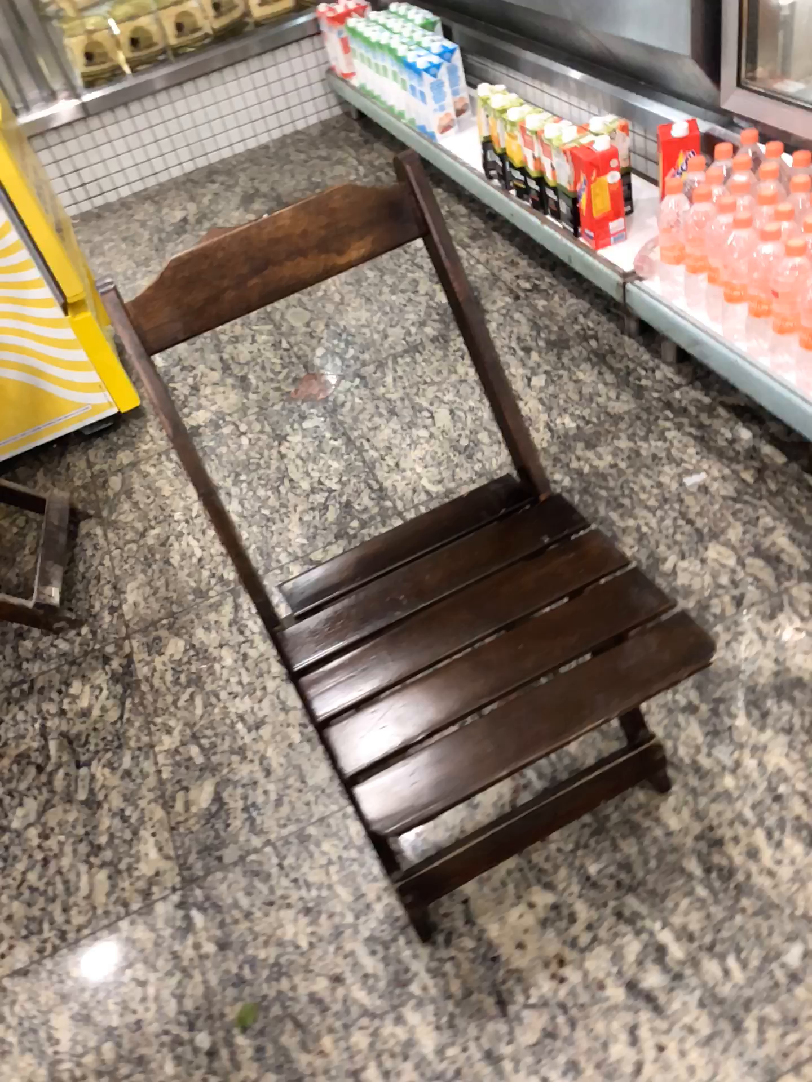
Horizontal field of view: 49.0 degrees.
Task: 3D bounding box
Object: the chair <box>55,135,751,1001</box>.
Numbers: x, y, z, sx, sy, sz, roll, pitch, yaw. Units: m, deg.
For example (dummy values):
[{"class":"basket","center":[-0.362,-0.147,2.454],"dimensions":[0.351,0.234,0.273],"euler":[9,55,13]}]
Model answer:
[{"class":"chair","center":[0.015,0.030,1.027],"dimensions":[0.440,0.705,0.553],"euler":[-27,43,-10]}]
